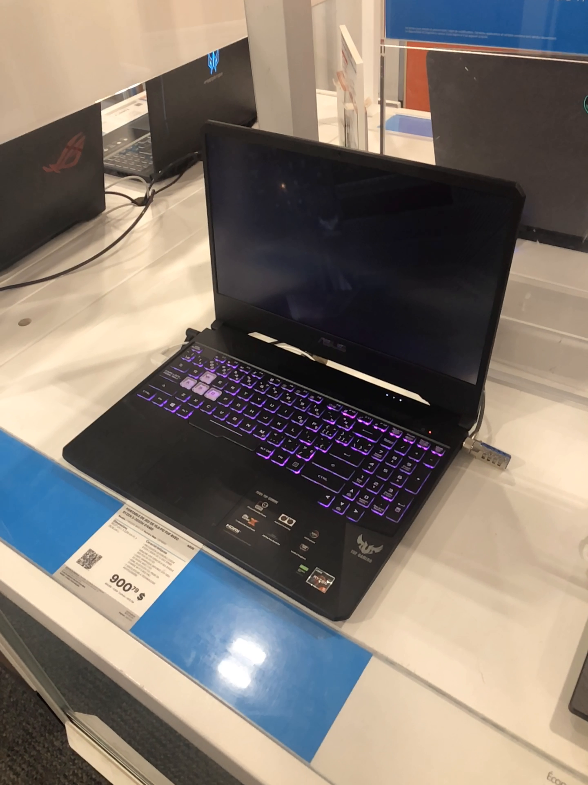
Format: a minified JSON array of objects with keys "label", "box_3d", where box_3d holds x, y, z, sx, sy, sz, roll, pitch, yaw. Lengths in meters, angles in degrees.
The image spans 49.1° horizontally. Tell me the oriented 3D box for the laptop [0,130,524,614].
[{"label":"laptop","box_3d":[-0.029,-0.052,0.616,0.351,0.235,0.301,22,50,28]}]
